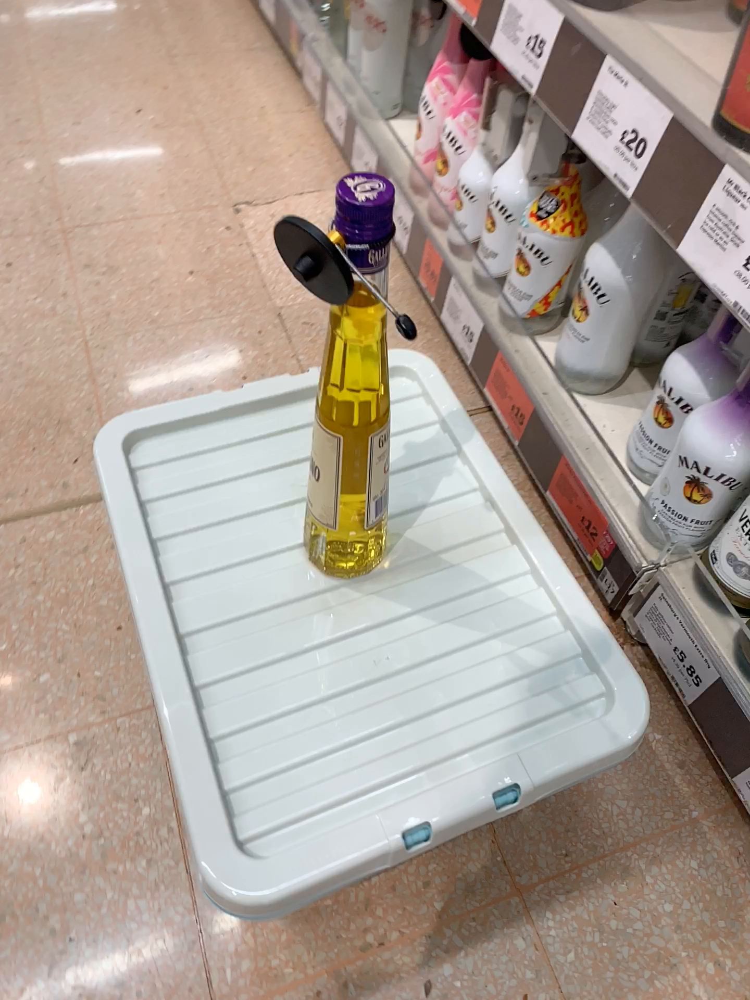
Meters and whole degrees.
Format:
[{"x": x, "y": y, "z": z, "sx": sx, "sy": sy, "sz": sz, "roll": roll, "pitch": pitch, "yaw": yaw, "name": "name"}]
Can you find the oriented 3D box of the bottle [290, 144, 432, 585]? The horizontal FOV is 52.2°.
[{"x": -0.017, "y": -0.061, "z": 0.538, "sx": 0.070, "sy": 0.347, "sz": 0.073, "roll": 2, "pitch": 53, "yaw": -3, "name": "bottle"}]
